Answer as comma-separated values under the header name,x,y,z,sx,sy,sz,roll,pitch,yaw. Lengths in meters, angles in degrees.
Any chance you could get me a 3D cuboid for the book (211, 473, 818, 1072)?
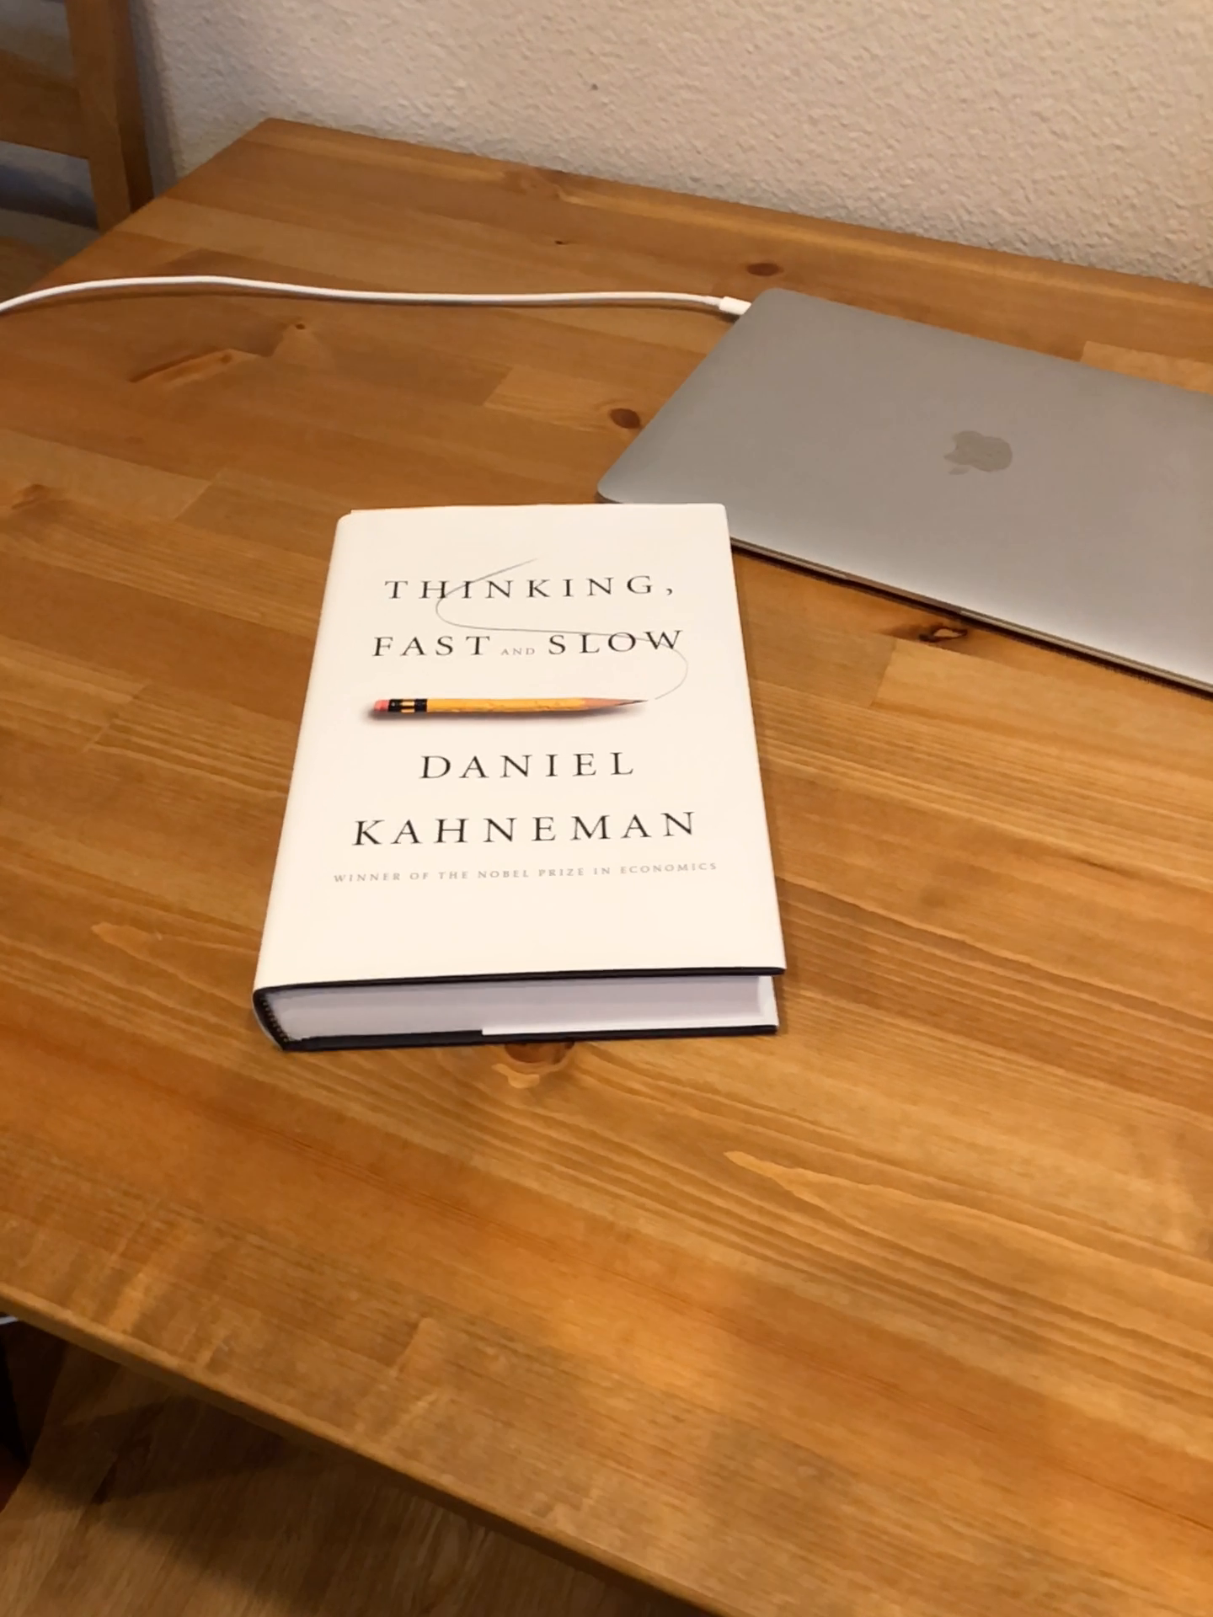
name,x,y,z,sx,sy,sz,roll,pitch,yaw
book,-0.030,-0.028,0.506,0.180,0.060,0.251,-1,48,-1
